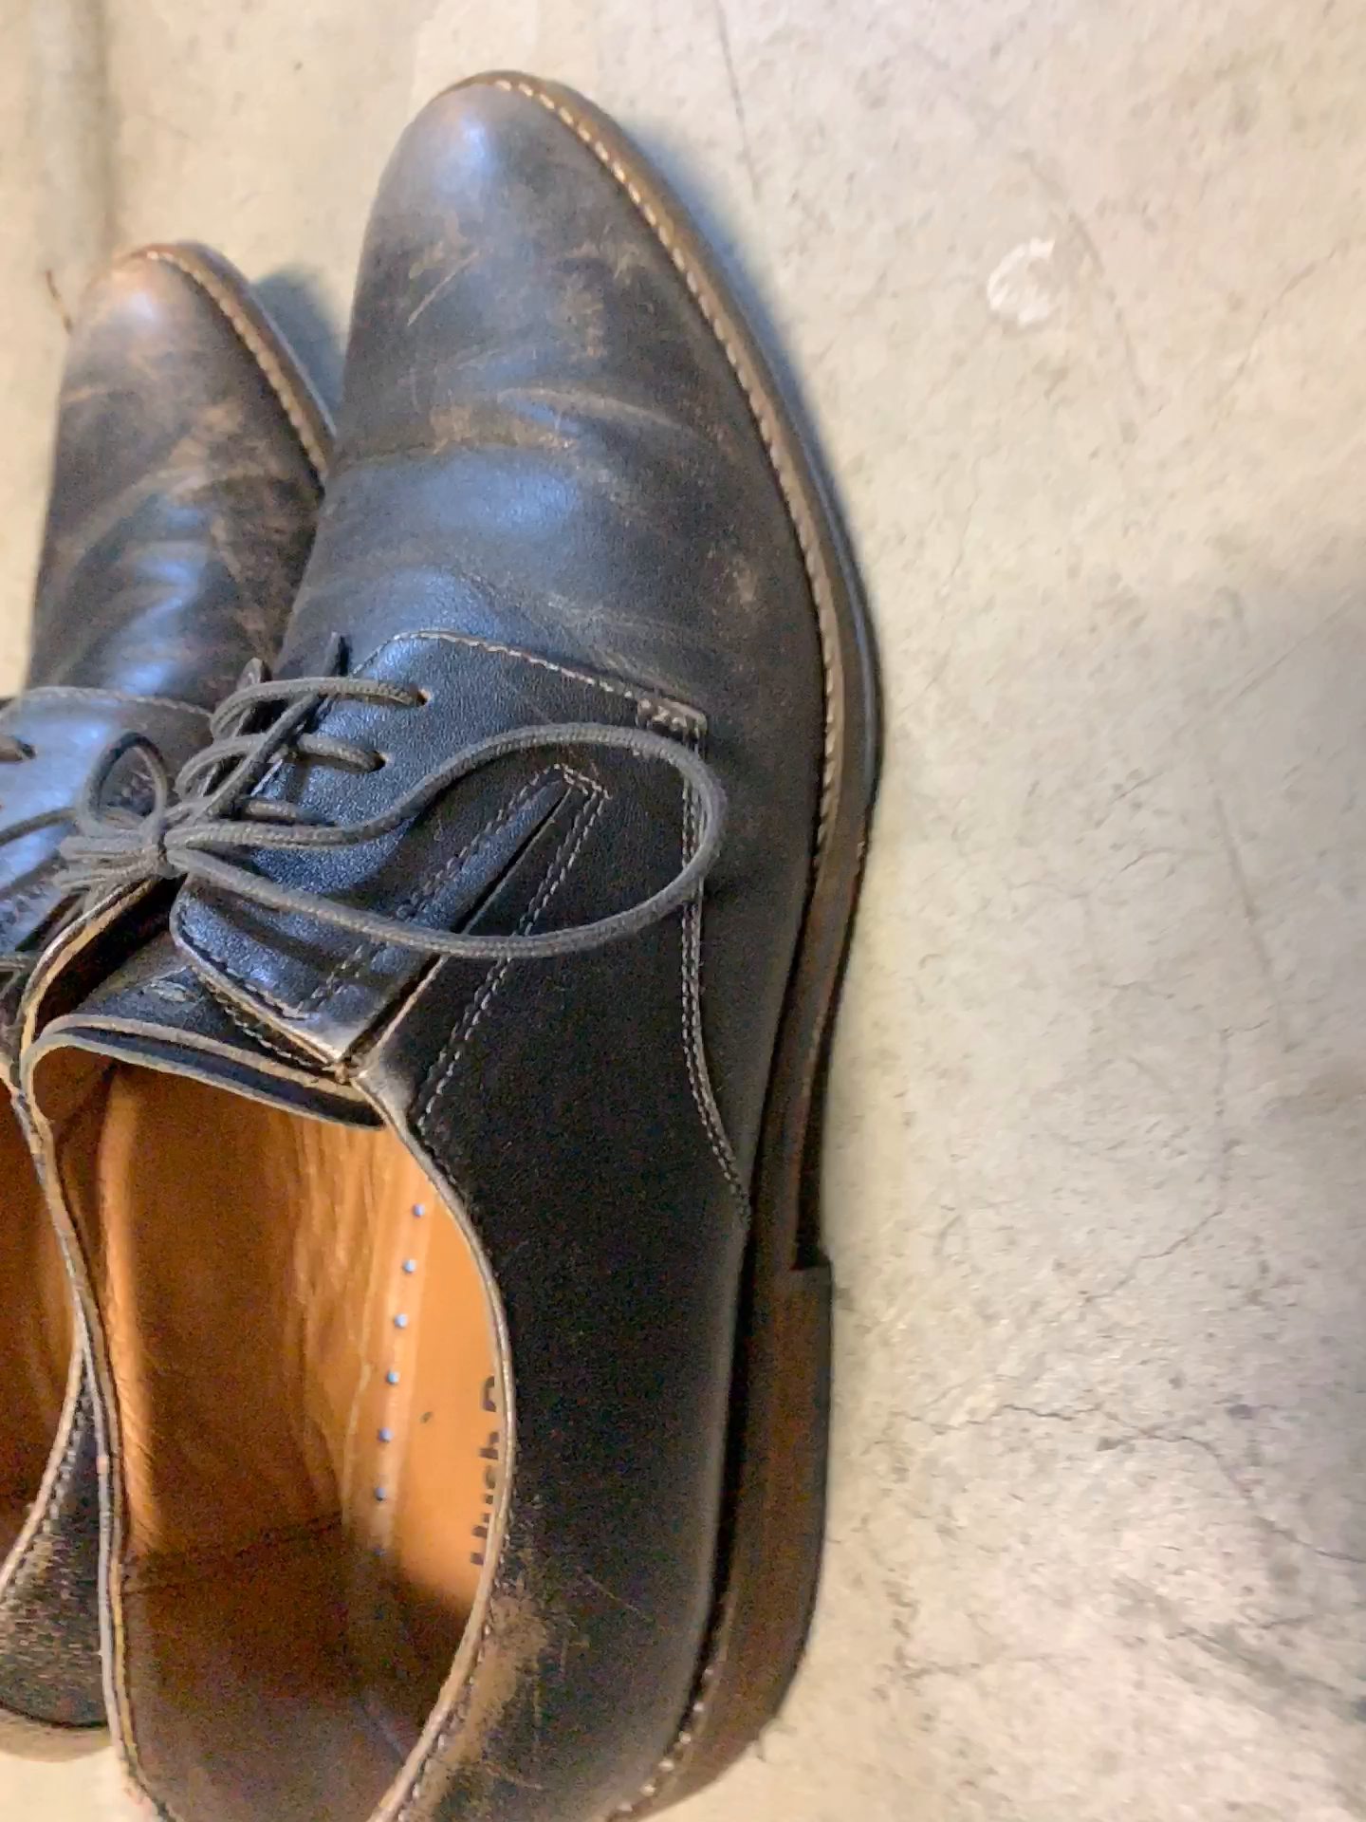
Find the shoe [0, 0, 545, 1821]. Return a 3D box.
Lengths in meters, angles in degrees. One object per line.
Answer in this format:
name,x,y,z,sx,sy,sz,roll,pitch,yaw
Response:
shoe,-0.120,-0.008,0.295,0.111,0.119,0.310,-13,75,32

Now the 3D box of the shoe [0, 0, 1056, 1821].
shoe,-0.031,-0.017,0.234,0.111,0.119,0.304,-11,76,33
